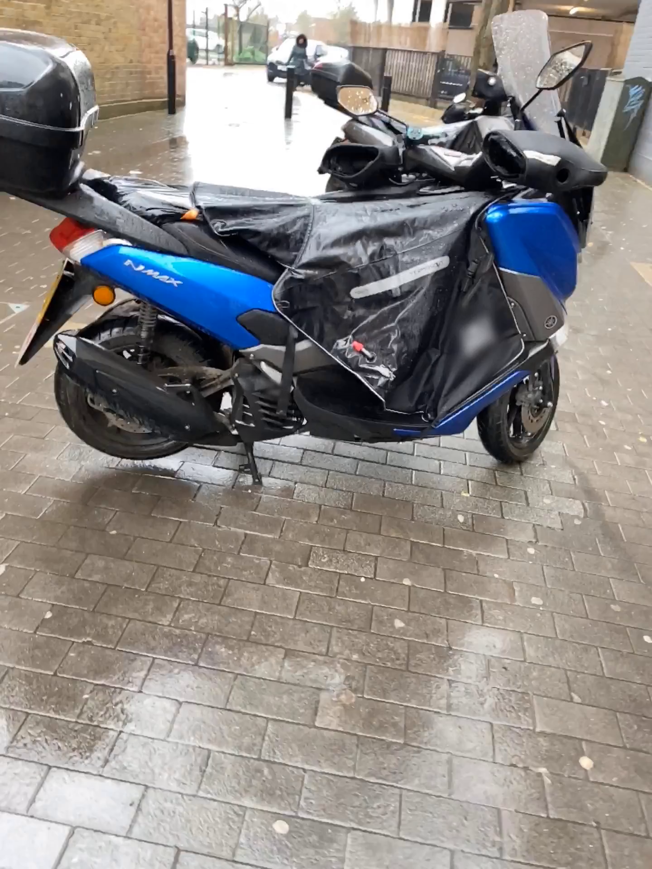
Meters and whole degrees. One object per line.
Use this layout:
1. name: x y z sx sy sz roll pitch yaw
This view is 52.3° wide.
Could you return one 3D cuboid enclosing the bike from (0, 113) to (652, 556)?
1. bike: 0.070 -0.330 2.039 1.732 0.998 0.681 -3 30 -16
